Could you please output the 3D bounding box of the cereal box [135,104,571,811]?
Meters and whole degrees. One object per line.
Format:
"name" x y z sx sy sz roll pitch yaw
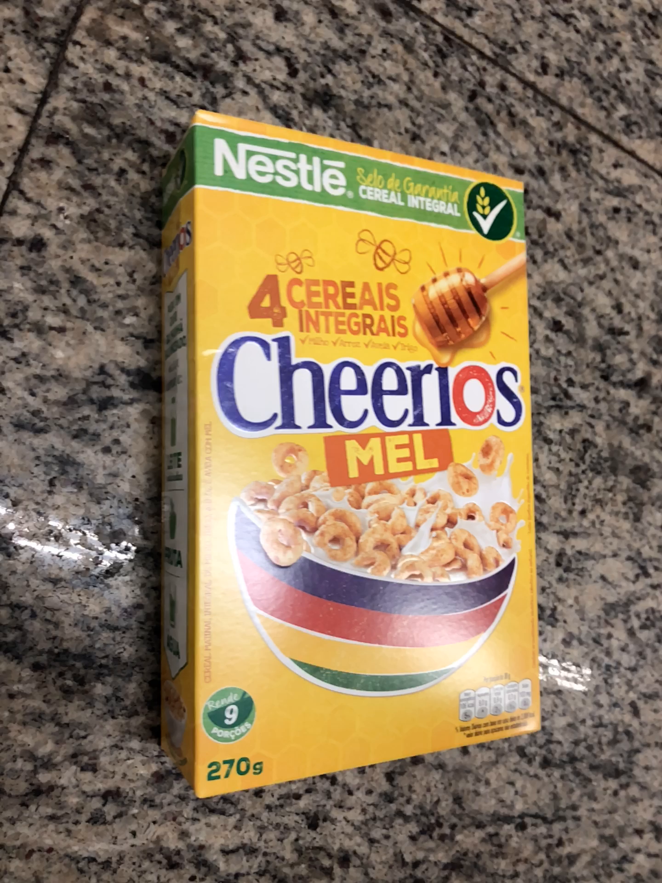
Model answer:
"cereal box" 0.010 0.004 0.315 0.171 0.060 0.240 0 85 -27
